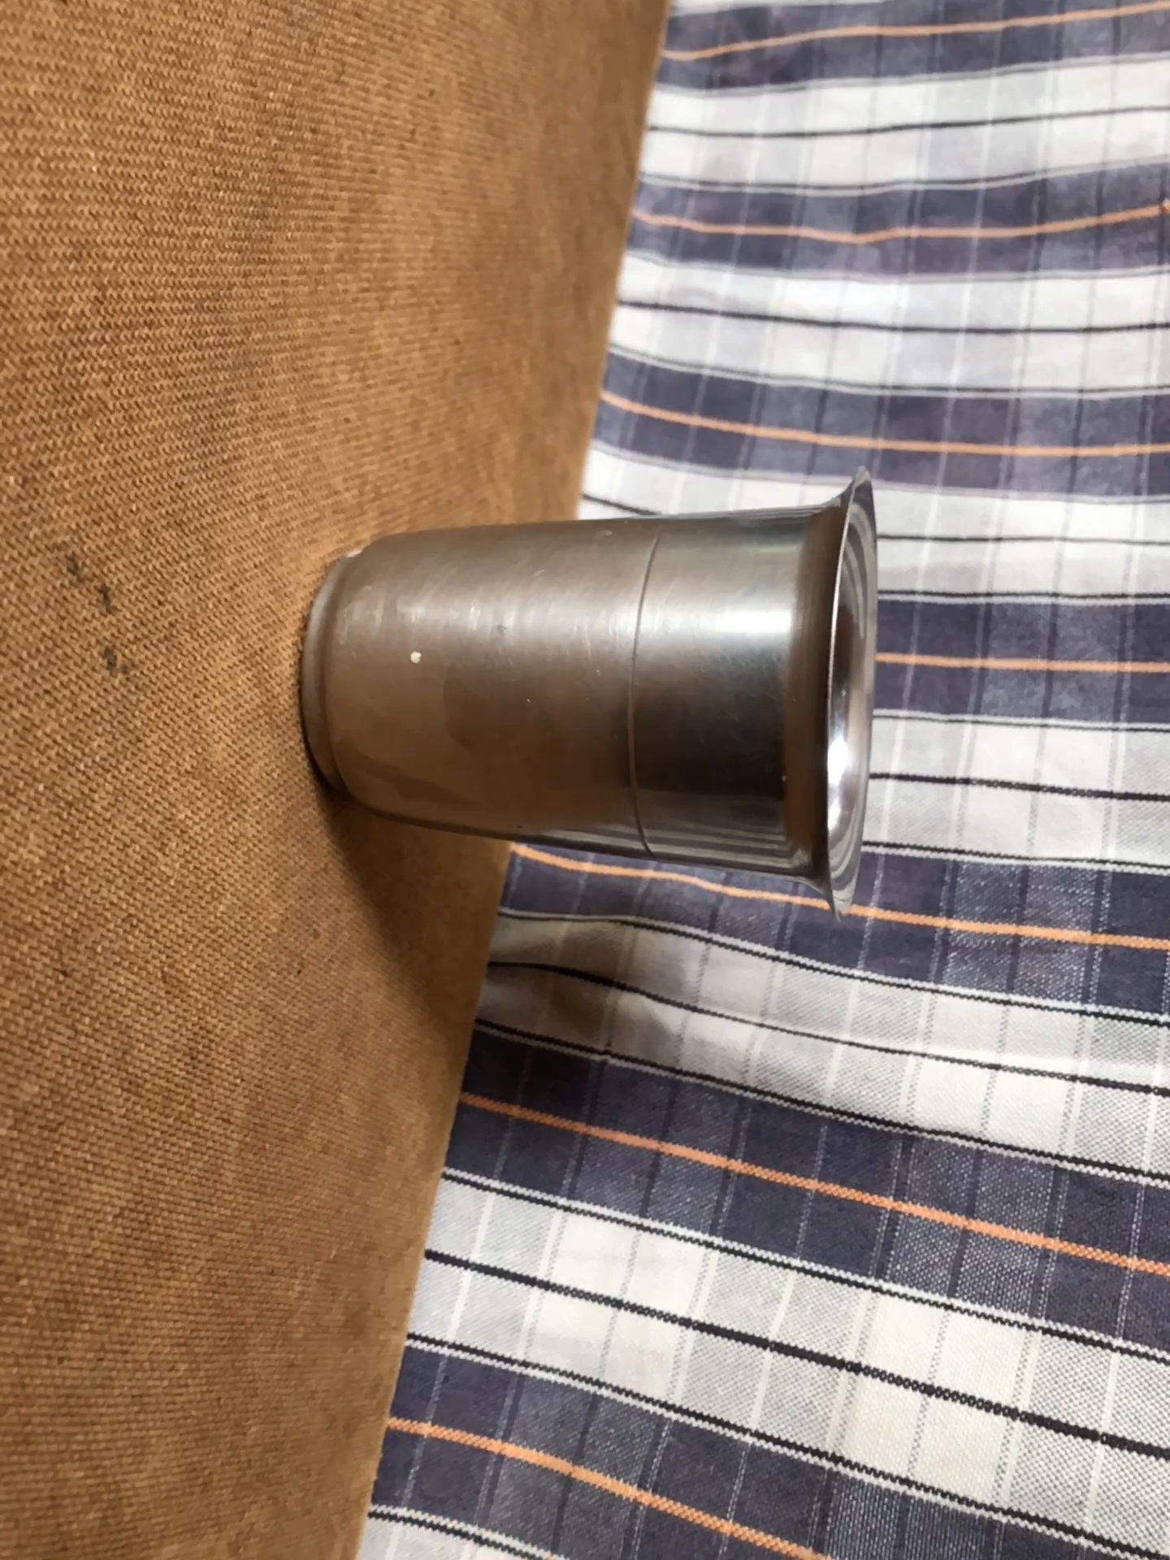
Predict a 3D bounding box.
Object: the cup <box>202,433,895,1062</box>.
[{"bbox_3d":[0.003,-0.010,0.245,0.080,0.100,0.080,3,90,-75],"label":"cup"}]
